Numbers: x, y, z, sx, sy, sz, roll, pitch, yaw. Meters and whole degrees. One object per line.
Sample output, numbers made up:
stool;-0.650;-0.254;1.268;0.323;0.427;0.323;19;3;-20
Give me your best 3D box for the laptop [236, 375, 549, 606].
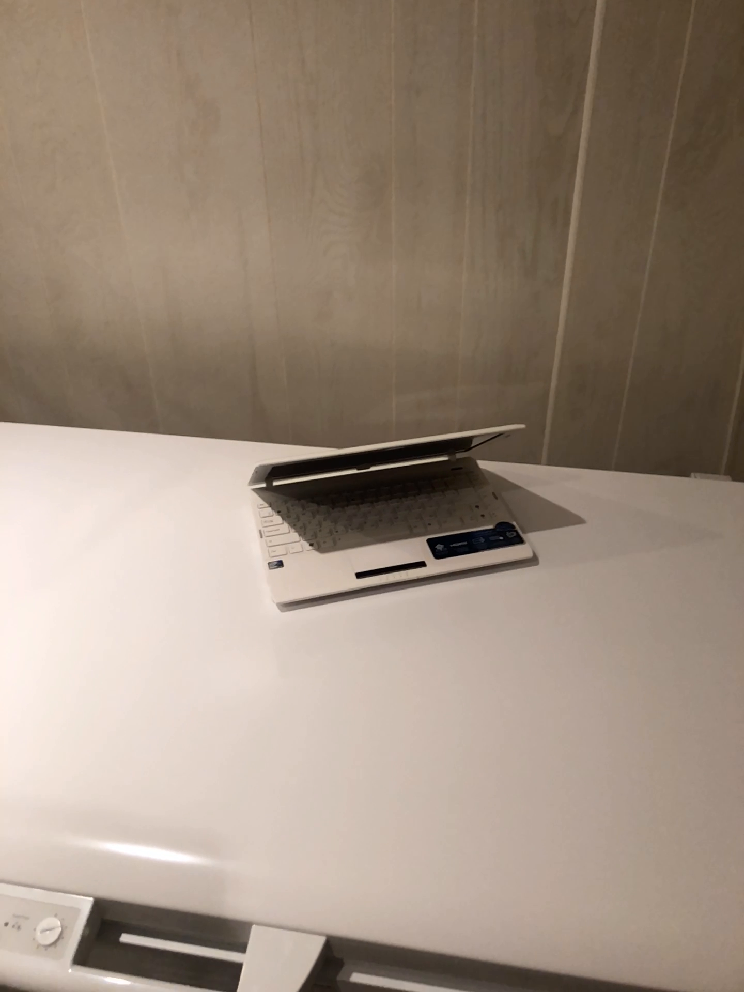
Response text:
laptop;0.015;-0.016;0.933;0.298;0.115;0.199;-10;39;-12
